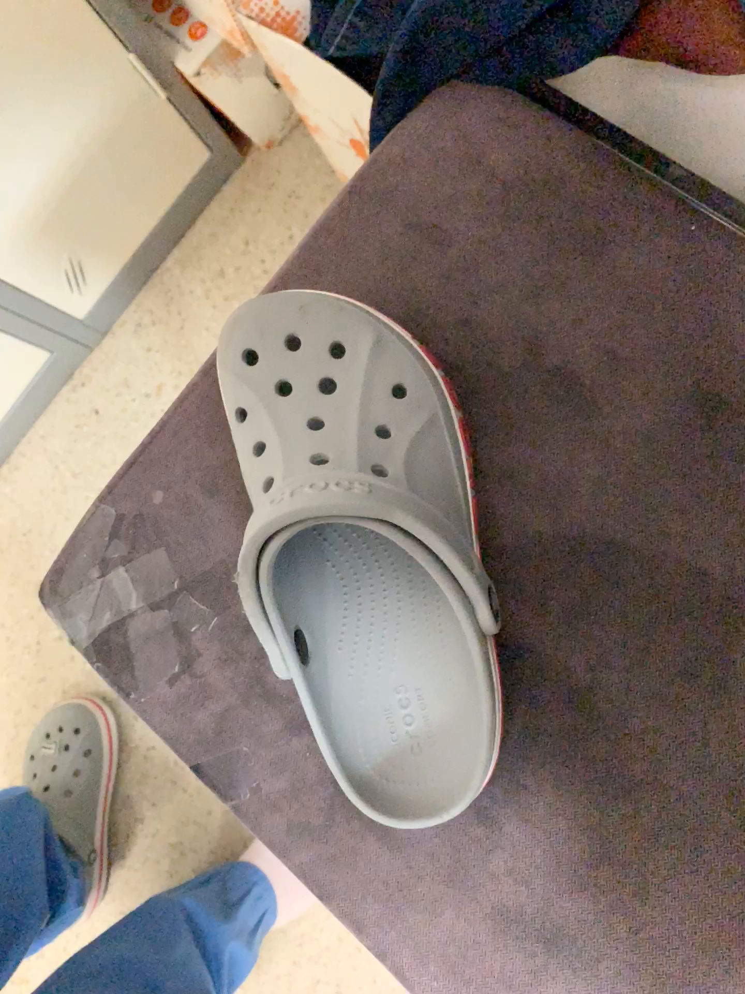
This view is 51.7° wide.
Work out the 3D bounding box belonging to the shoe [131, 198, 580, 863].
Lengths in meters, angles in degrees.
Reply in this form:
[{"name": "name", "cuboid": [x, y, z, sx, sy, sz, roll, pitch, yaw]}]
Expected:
[{"name": "shoe", "cuboid": [-0.007, 0.013, 0.341, 0.119, 0.075, 0.239, -19, 81, 11]}]
